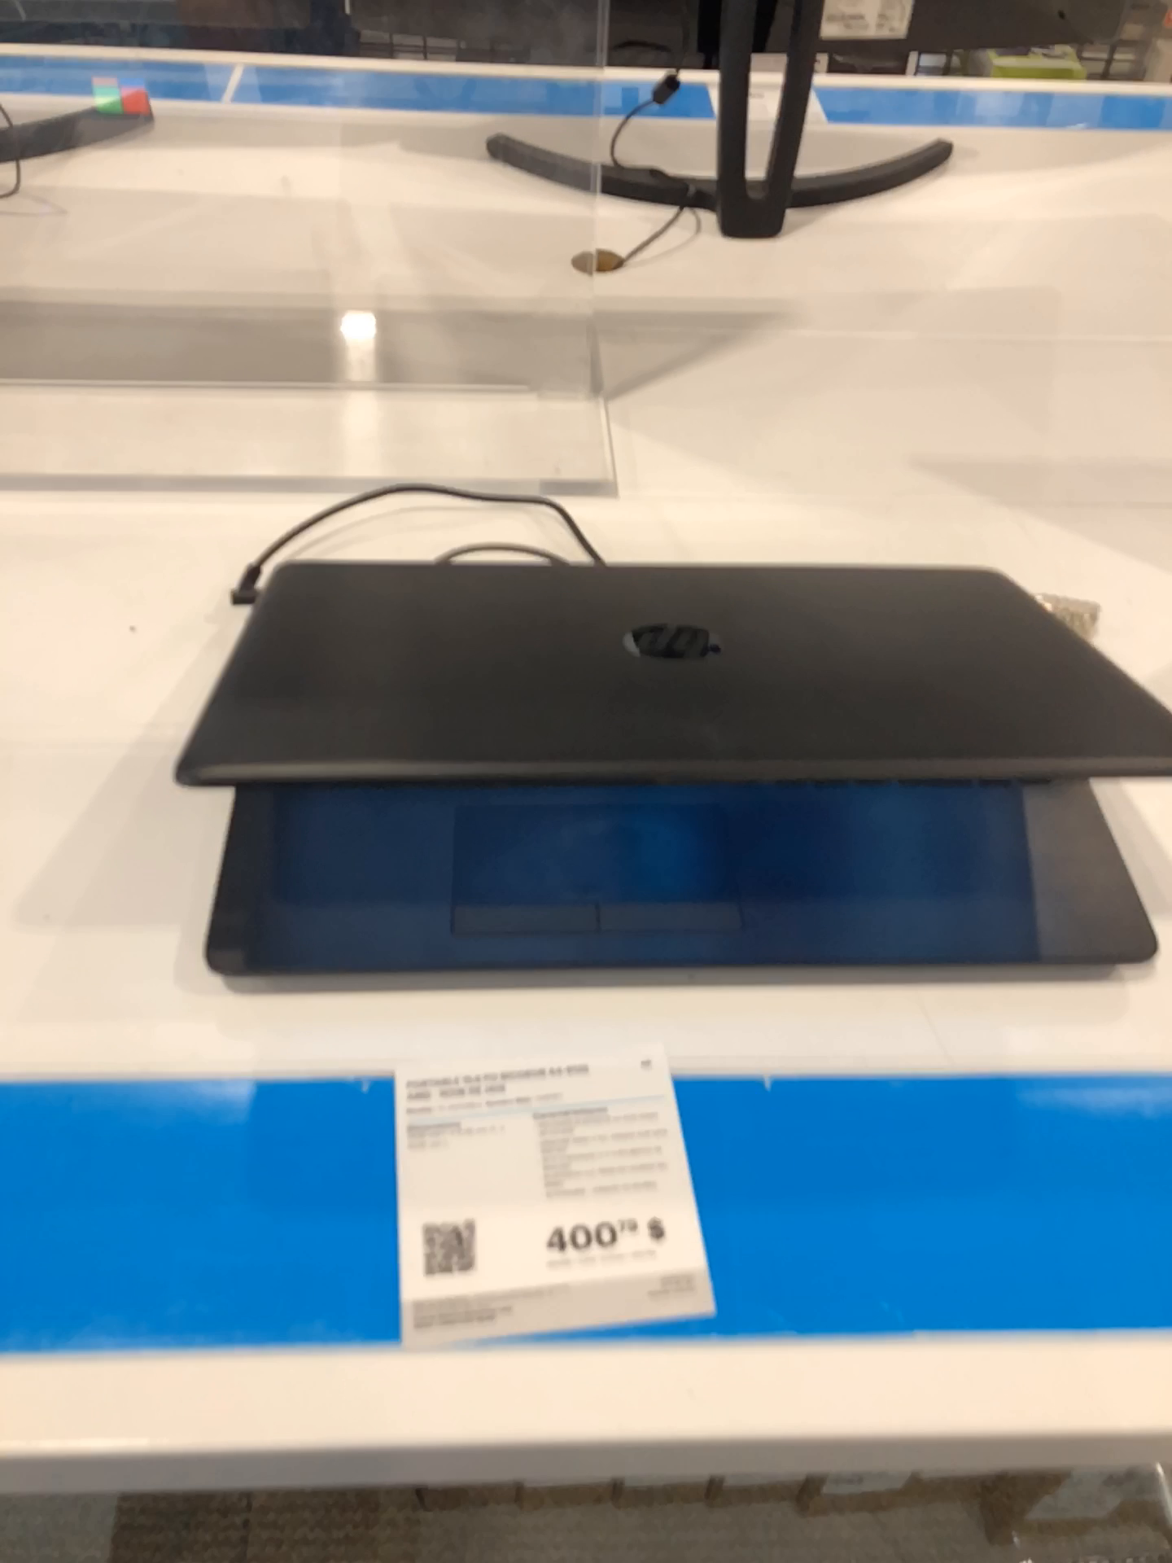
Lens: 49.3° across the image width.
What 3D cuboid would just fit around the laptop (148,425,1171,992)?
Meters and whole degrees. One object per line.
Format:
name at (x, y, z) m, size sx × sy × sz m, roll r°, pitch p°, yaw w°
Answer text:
laptop at (0.038, -0.040, 0.537) m, size 0.365 × 0.091 × 0.235 m, roll 0°, pitch 46°, yaw -7°
